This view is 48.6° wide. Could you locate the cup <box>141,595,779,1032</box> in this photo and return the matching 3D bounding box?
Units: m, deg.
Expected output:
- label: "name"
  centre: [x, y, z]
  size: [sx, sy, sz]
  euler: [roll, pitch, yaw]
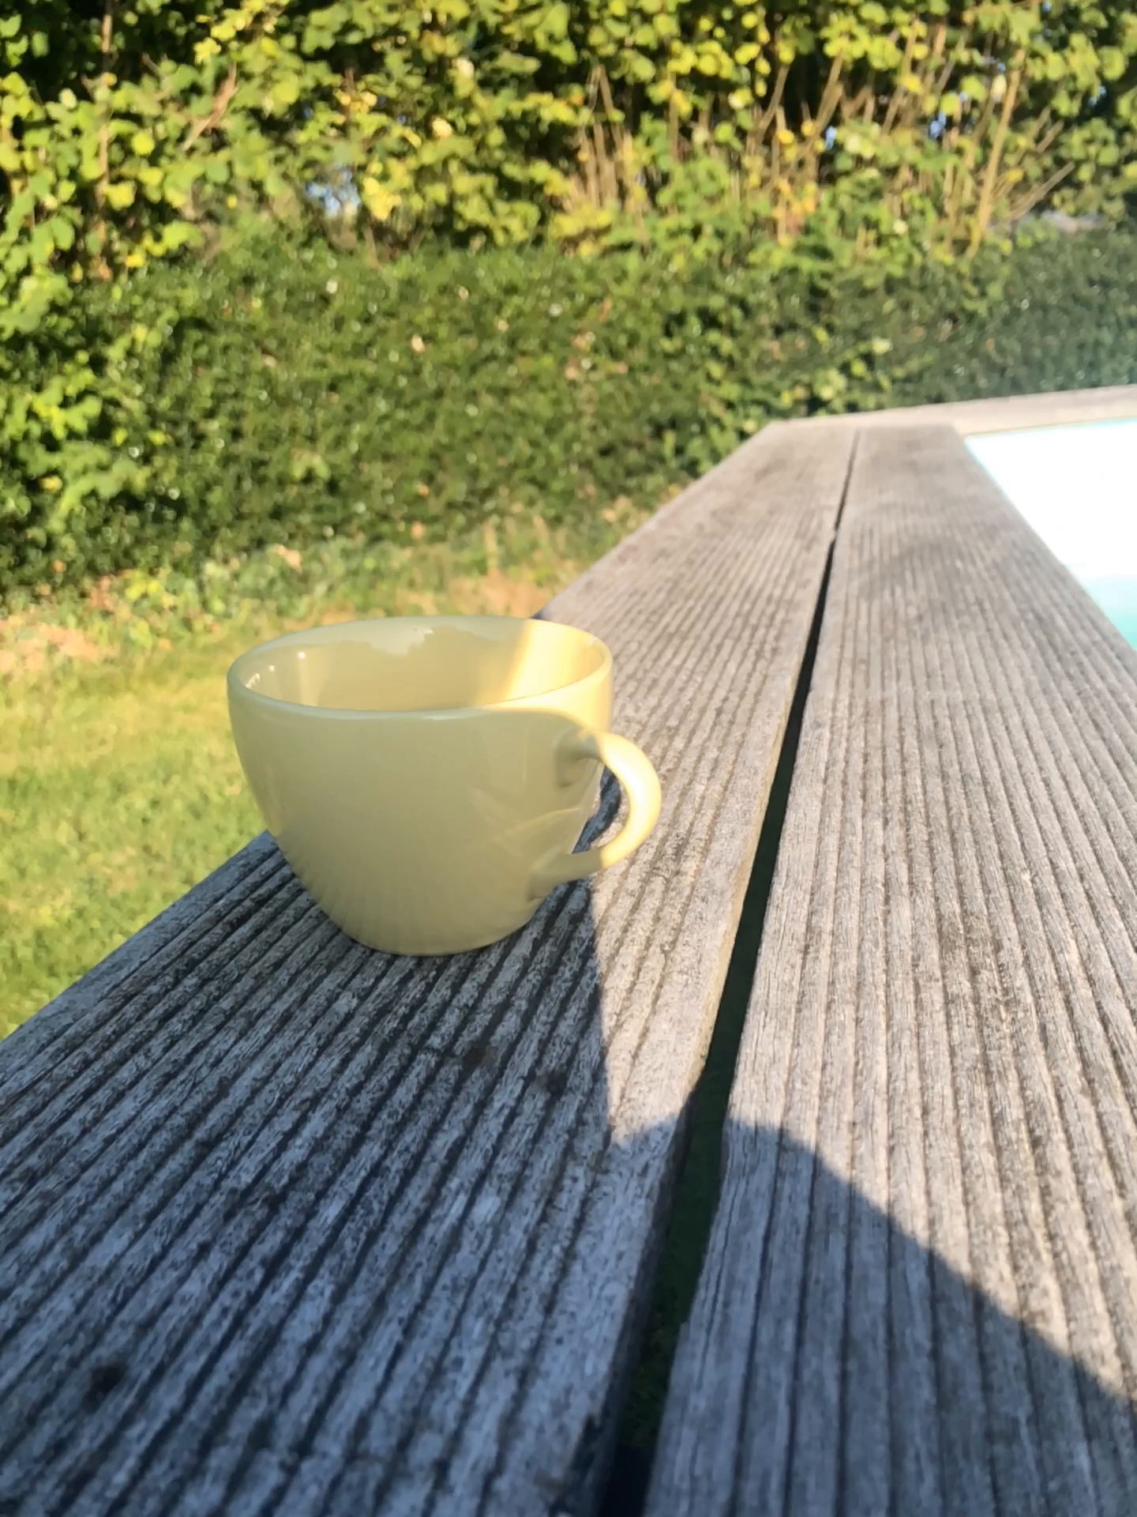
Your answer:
- label: "cup"
  centre: [-0.025, 0.002, 0.287]
  size: [0.112, 0.053, 0.089]
  euler: [14, 24, 41]
